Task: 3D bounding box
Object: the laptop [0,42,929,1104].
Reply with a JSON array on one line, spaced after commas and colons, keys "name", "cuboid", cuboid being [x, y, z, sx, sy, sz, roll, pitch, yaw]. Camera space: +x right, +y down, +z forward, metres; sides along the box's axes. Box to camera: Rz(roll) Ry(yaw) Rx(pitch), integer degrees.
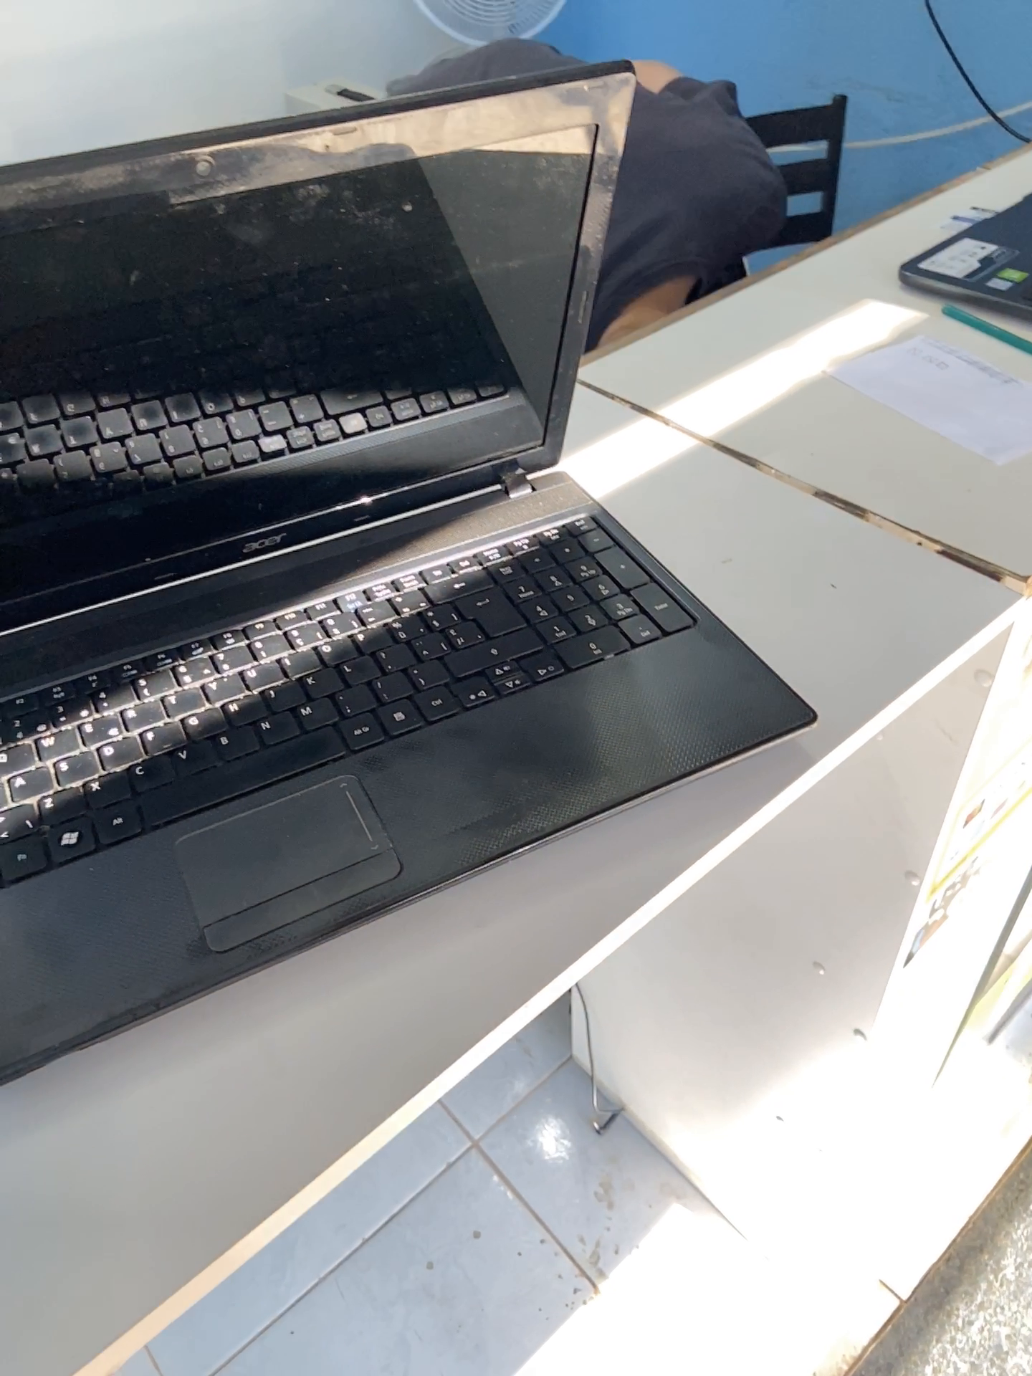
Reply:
[{"name": "laptop", "cuboid": [-0.093, -0.079, 0.429, 0.374, 0.234, 0.254, -21, 45, -18]}]
